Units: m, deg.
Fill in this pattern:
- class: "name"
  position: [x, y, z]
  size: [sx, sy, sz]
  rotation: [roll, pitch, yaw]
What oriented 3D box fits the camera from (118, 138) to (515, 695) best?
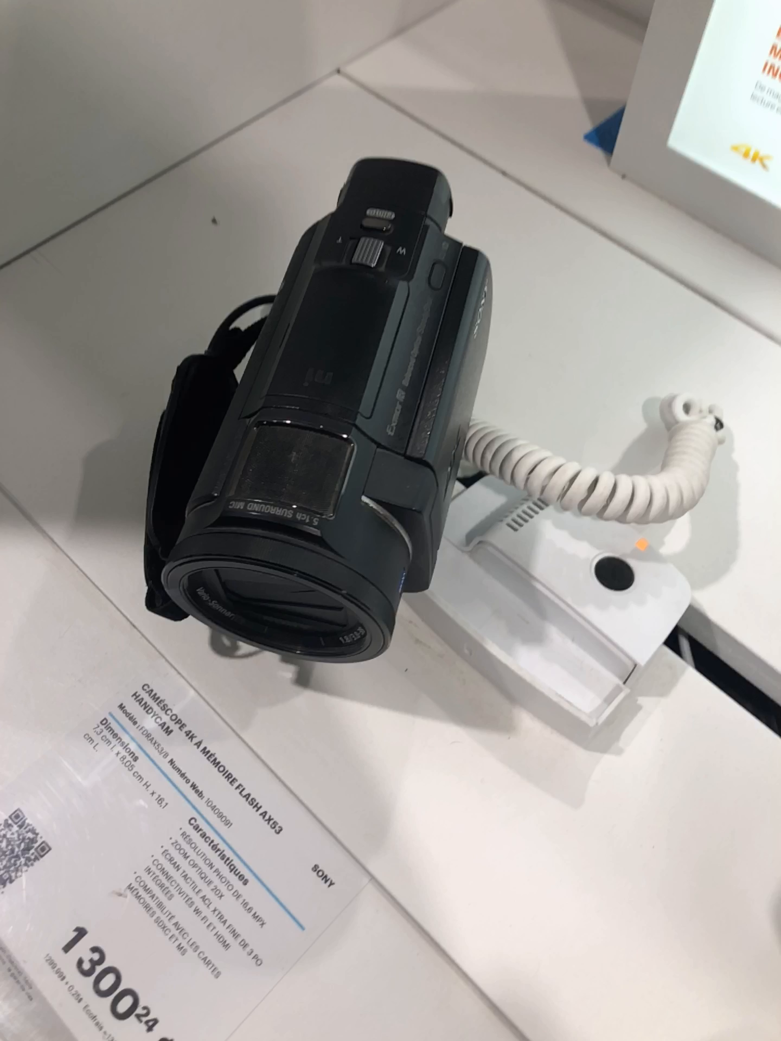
- class: "camera"
  position: [-0.013, -0.036, 0.266]
  size: [0.073, 0.070, 0.149]
  rotation: [11, 59, 5]
